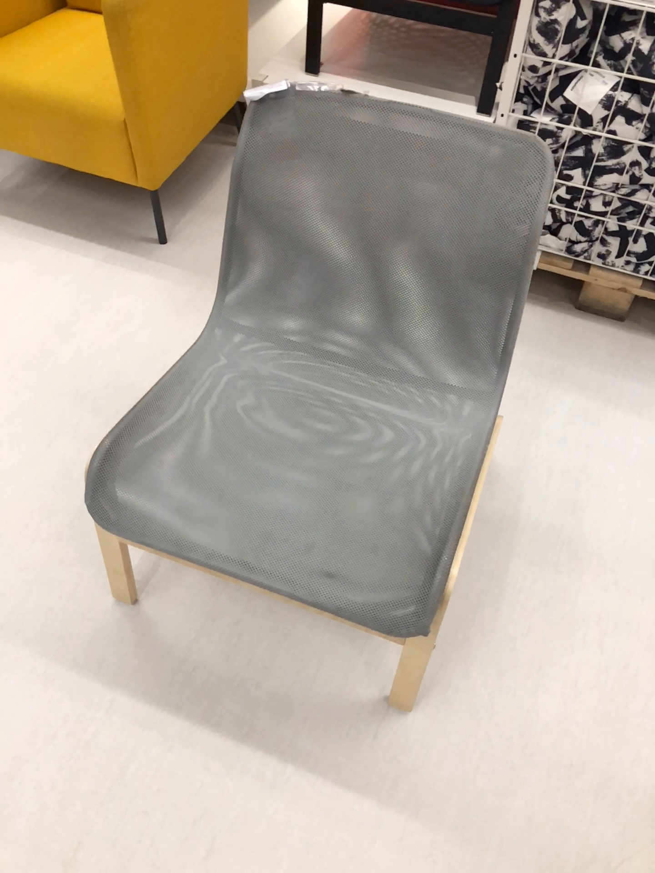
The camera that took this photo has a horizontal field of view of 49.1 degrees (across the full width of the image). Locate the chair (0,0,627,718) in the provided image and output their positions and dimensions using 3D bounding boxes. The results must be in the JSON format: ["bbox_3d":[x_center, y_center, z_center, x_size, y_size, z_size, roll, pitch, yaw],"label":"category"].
[{"bbox_3d":[-0.012,-0.093,1.174,0.630,0.825,0.643,18,53,12],"label":"chair"}]
